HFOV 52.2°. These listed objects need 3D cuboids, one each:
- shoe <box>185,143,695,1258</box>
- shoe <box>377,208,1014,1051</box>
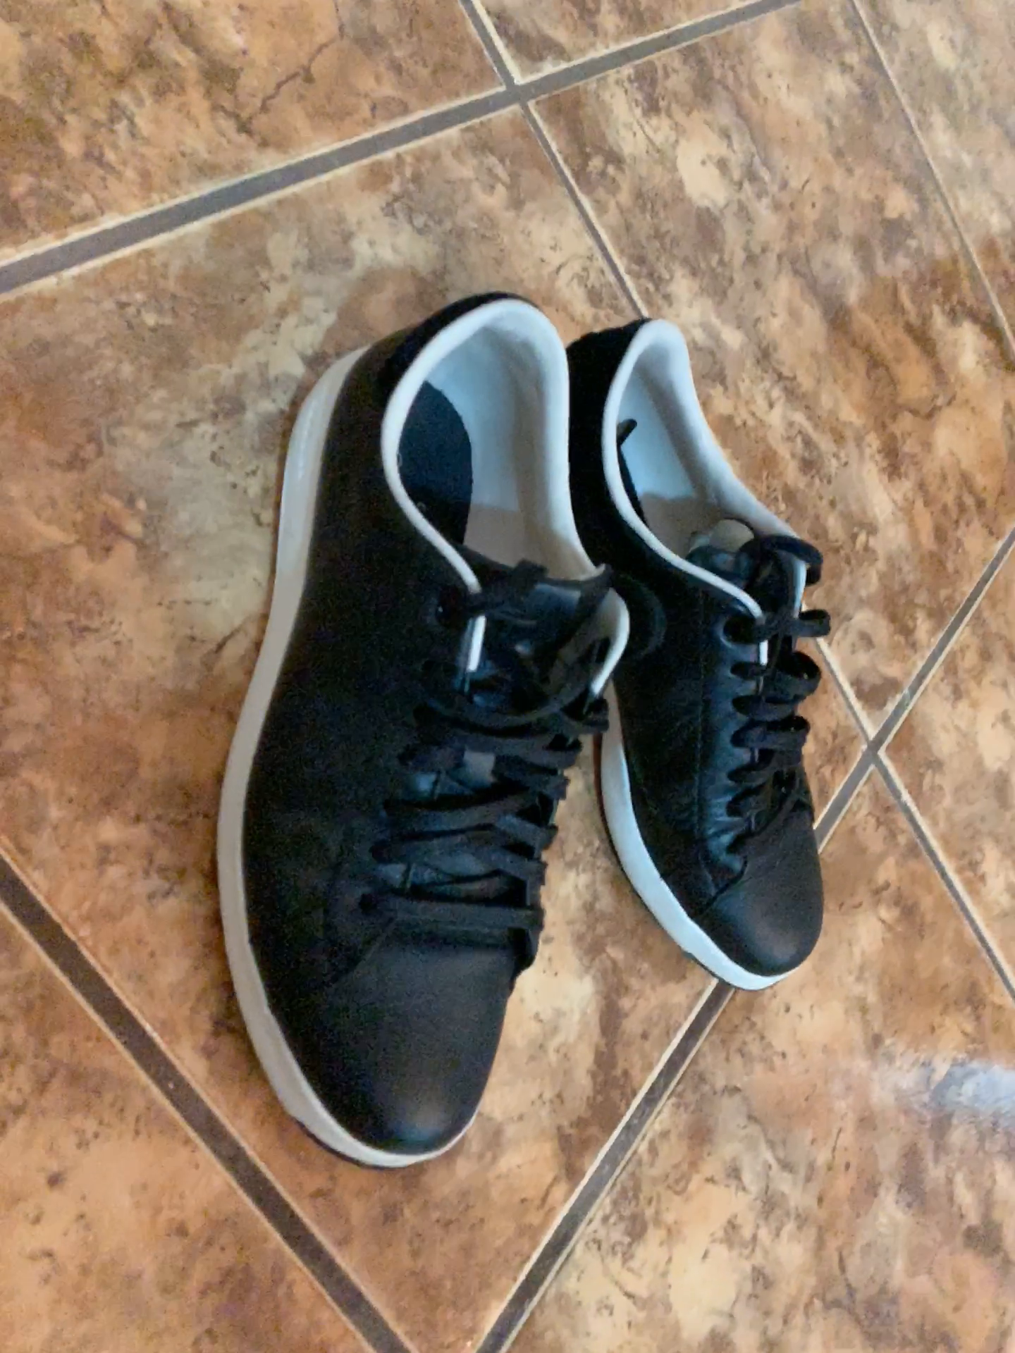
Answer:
[{"bbox_3d":[-0.015,0.004,0.289,0.087,0.093,0.255,14,70,-36],"label":"shoe"},{"bbox_3d":[0.068,-0.012,0.361,0.090,0.103,0.255,-28,96,-40],"label":"shoe"}]
